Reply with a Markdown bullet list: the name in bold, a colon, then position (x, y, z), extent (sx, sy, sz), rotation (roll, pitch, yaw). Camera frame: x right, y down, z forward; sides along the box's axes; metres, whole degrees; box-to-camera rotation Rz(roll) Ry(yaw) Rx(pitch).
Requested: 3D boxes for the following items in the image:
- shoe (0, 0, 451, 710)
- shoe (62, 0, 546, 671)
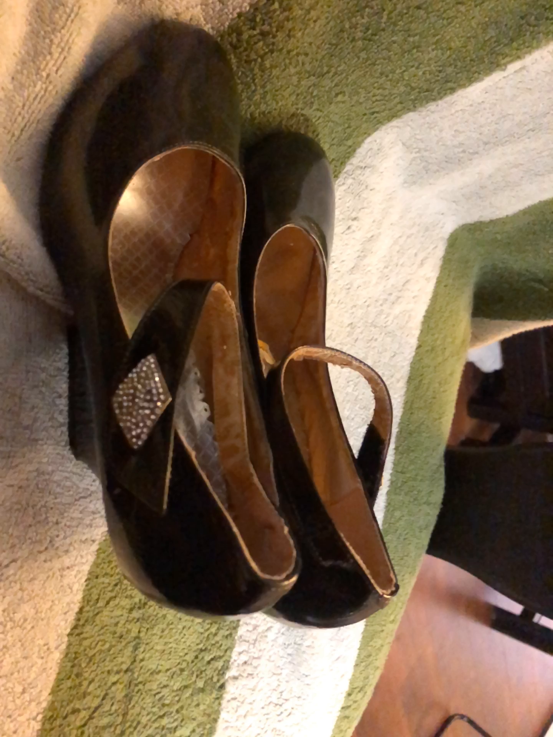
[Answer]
- **shoe**: position (-0.035, -0.035, 0.226), extent (0.090, 0.119, 0.240), rotation (14, 88, -46)
- **shoe**: position (0.015, -0.016, 0.273), extent (0.090, 0.119, 0.240), rotation (27, 78, -44)
